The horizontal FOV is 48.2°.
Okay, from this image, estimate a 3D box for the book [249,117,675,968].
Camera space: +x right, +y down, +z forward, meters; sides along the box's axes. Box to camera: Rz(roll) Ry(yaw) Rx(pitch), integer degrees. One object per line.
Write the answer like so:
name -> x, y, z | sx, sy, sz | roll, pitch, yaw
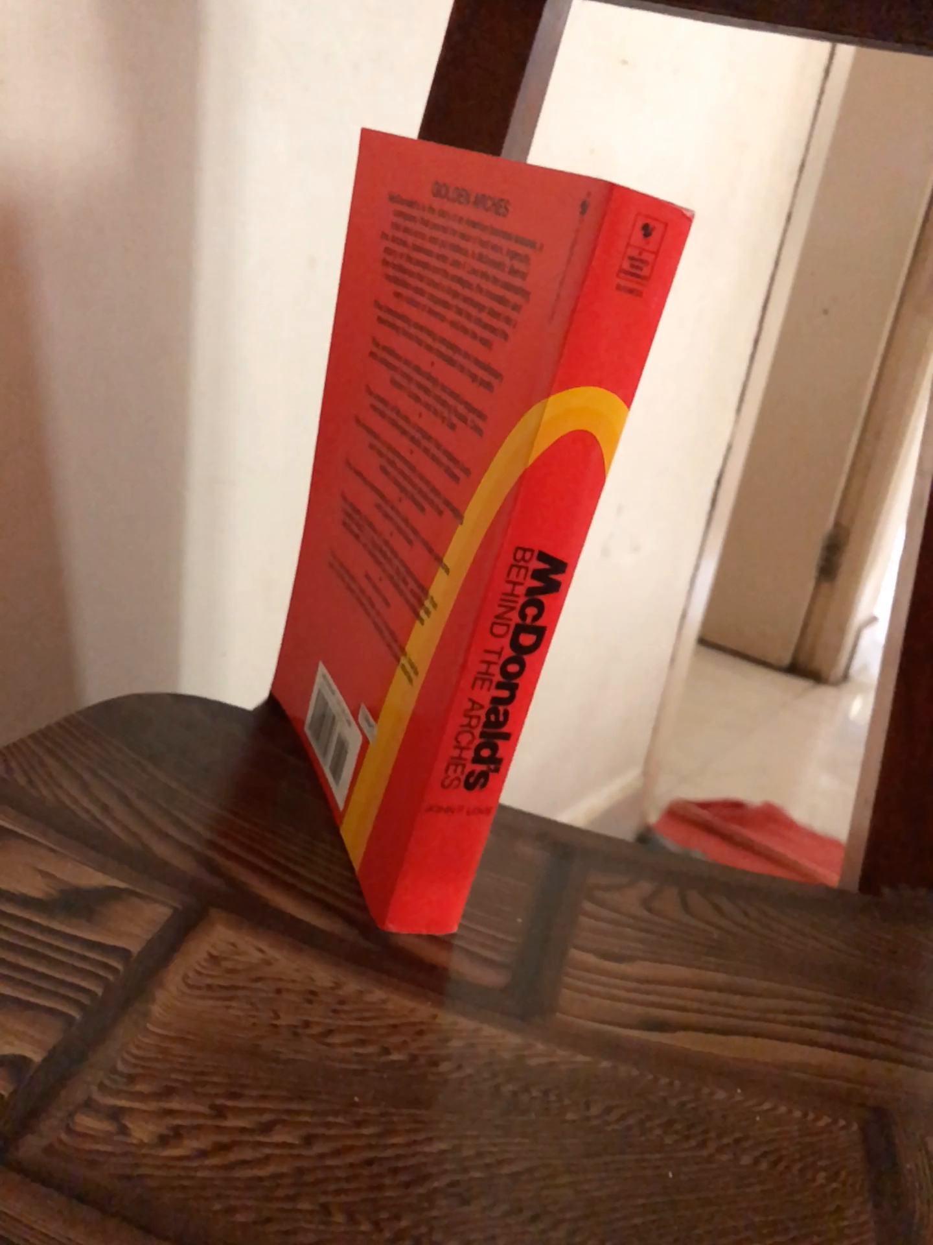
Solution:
book -> -0.024, -0.040, 0.369 | 0.040, 0.239, 0.191 | 6, 19, -22
